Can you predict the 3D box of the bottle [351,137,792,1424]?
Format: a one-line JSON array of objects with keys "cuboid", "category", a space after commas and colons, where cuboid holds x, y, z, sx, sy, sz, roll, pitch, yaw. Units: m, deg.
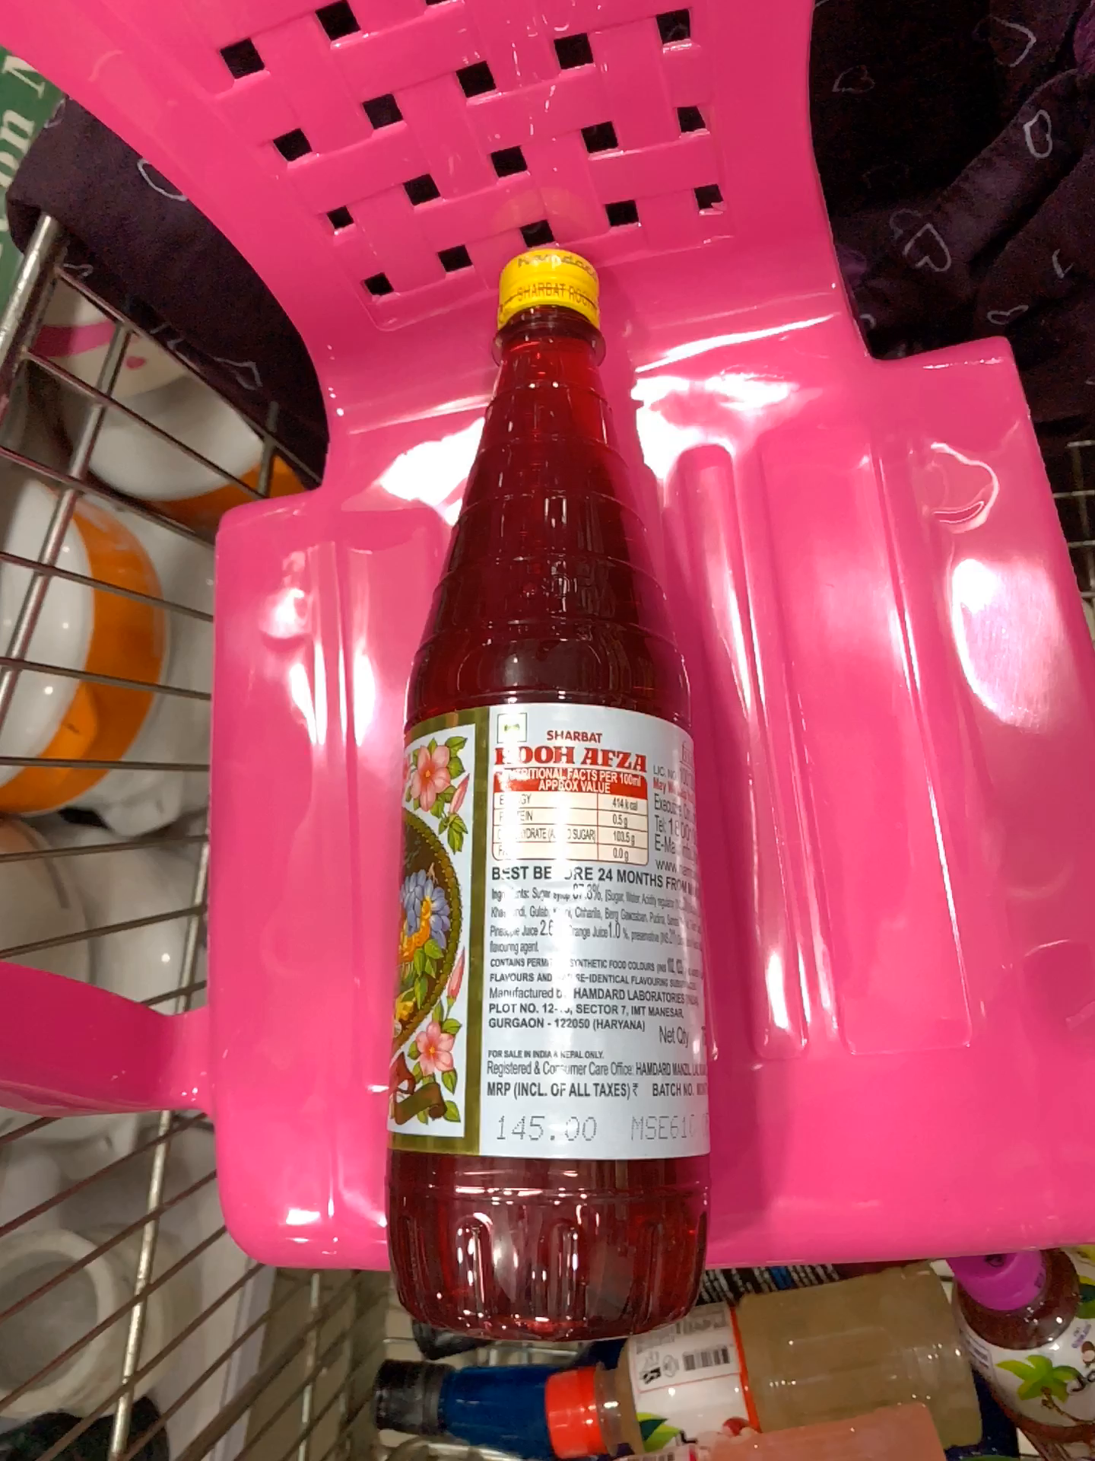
[{"cuboid": [0.001, 0.002, 0.258, 0.080, 0.060, 0.260, -1, 80, 0], "category": "bottle"}]
